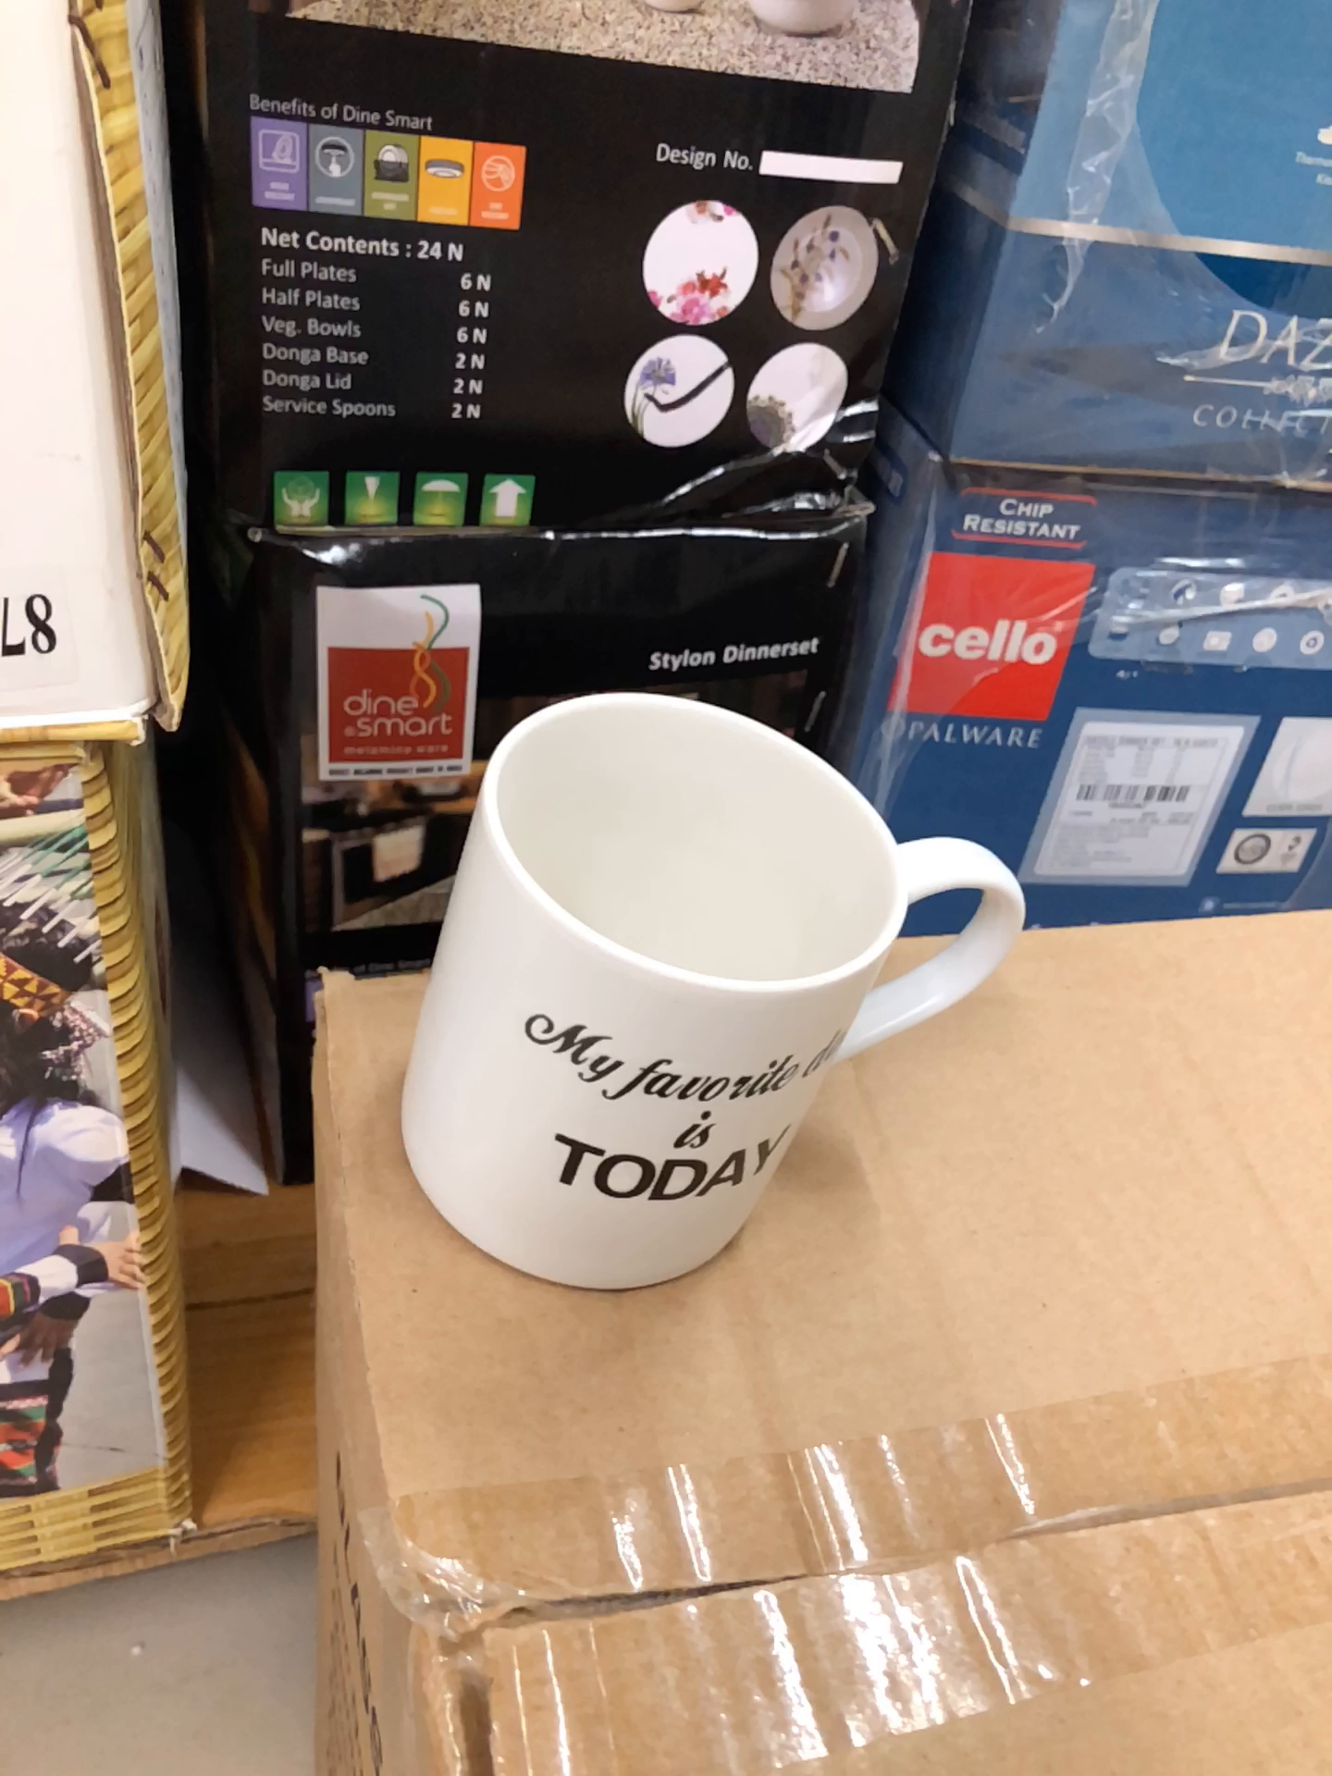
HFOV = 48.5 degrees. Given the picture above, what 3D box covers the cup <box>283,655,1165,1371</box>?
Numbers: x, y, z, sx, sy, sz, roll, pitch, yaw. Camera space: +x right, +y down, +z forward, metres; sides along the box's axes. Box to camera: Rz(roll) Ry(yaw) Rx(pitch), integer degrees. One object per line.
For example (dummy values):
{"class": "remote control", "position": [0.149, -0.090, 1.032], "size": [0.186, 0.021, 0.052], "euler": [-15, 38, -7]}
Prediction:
{"class": "cup", "position": [0.005, 0.019, 0.295], "size": [0.130, 0.099, 0.080], "euler": [-5, 46, -29]}
